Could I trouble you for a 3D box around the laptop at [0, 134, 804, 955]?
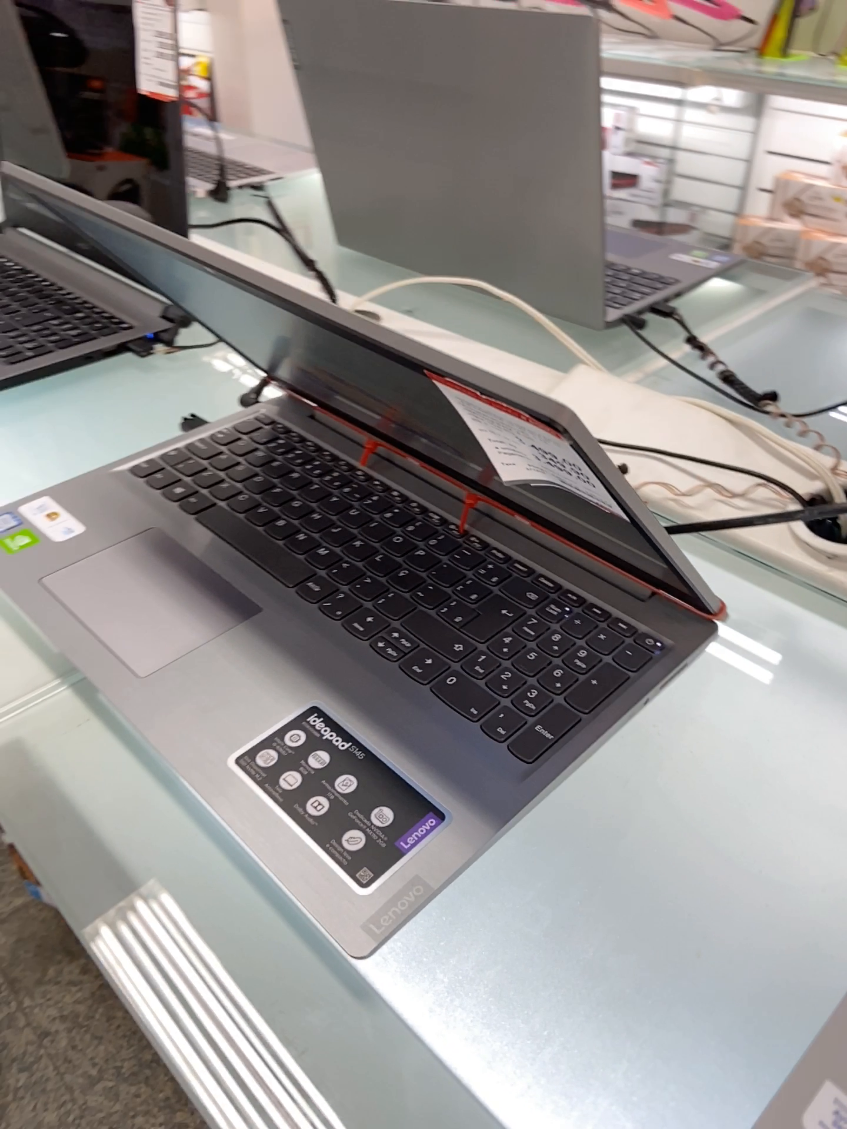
[{"bbox_3d":[-0.064,-0.066,0.425,0.245,0.175,0.360,-31,46,-34],"label":"laptop"}]
